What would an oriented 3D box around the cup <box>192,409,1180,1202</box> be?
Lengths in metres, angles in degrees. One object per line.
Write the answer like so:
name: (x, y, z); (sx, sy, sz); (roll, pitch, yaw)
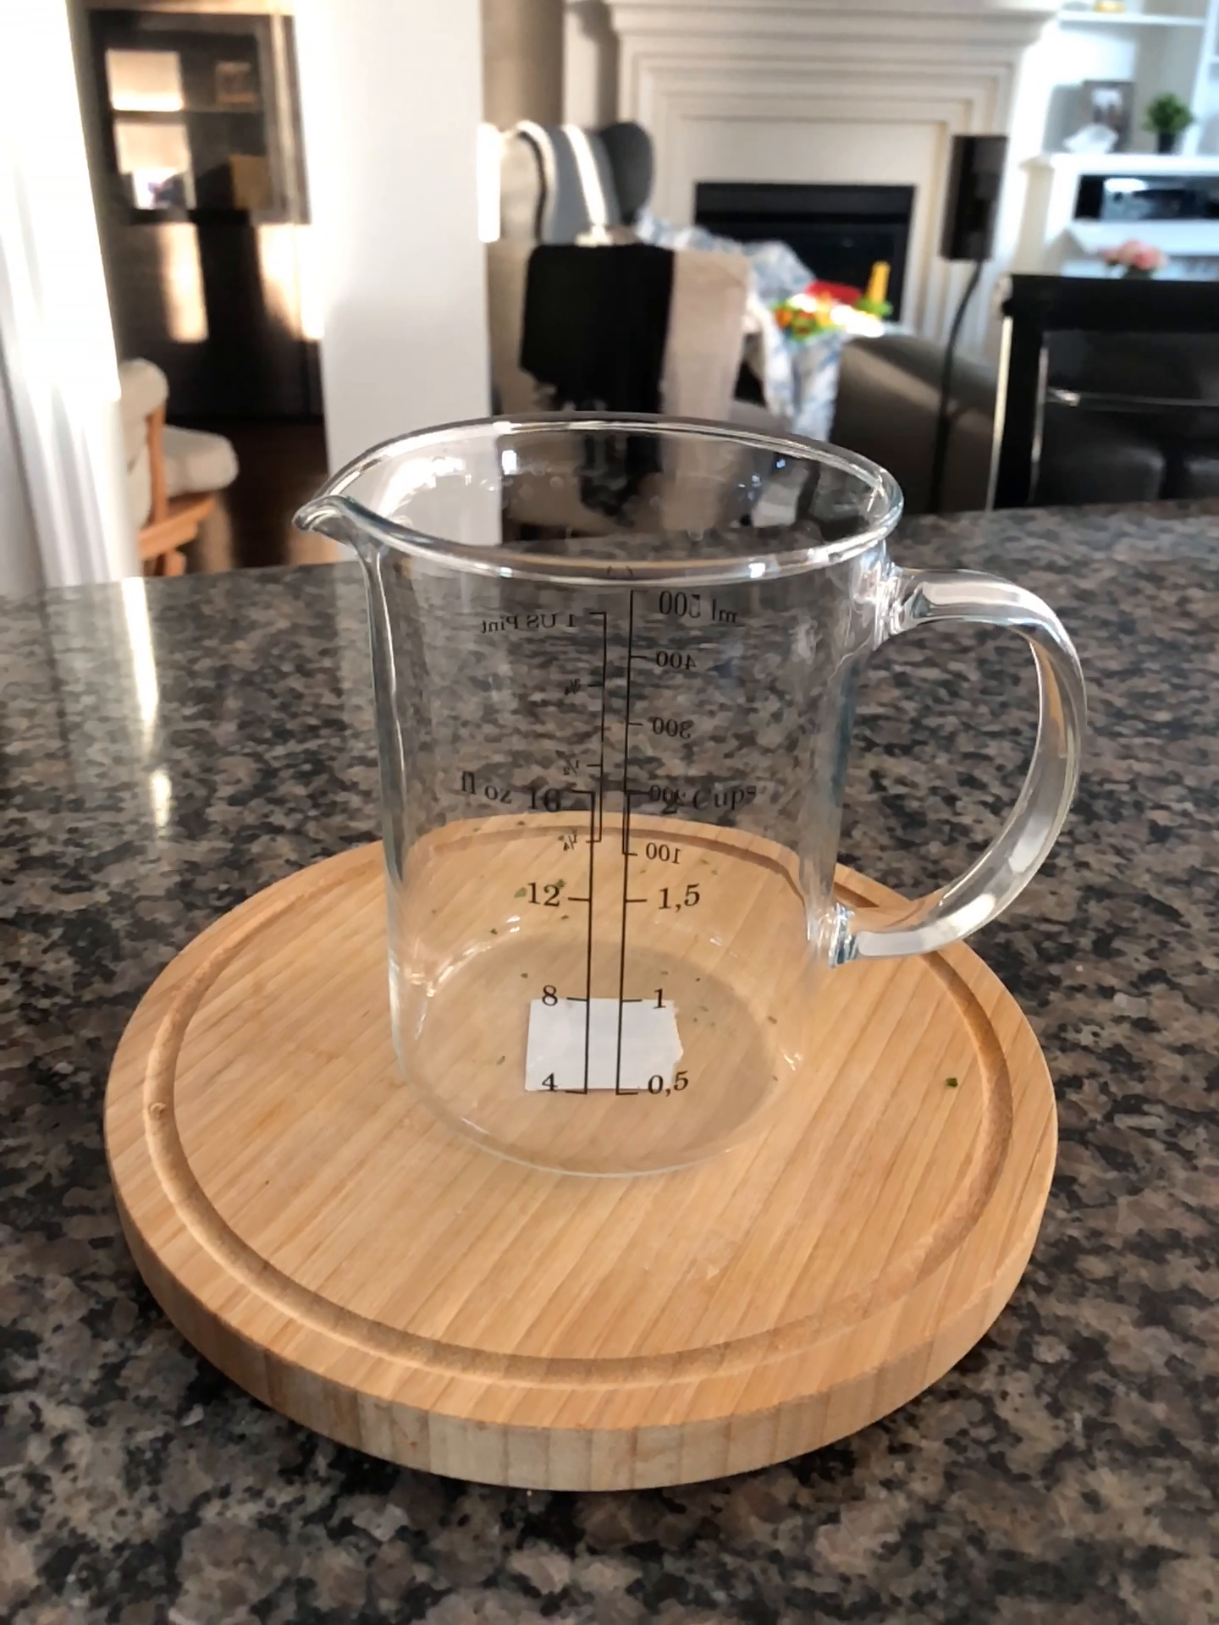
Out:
cup: (0.009, -0.007, 0.282); (0.150, 0.128, 0.106); (0, 28, -3)
